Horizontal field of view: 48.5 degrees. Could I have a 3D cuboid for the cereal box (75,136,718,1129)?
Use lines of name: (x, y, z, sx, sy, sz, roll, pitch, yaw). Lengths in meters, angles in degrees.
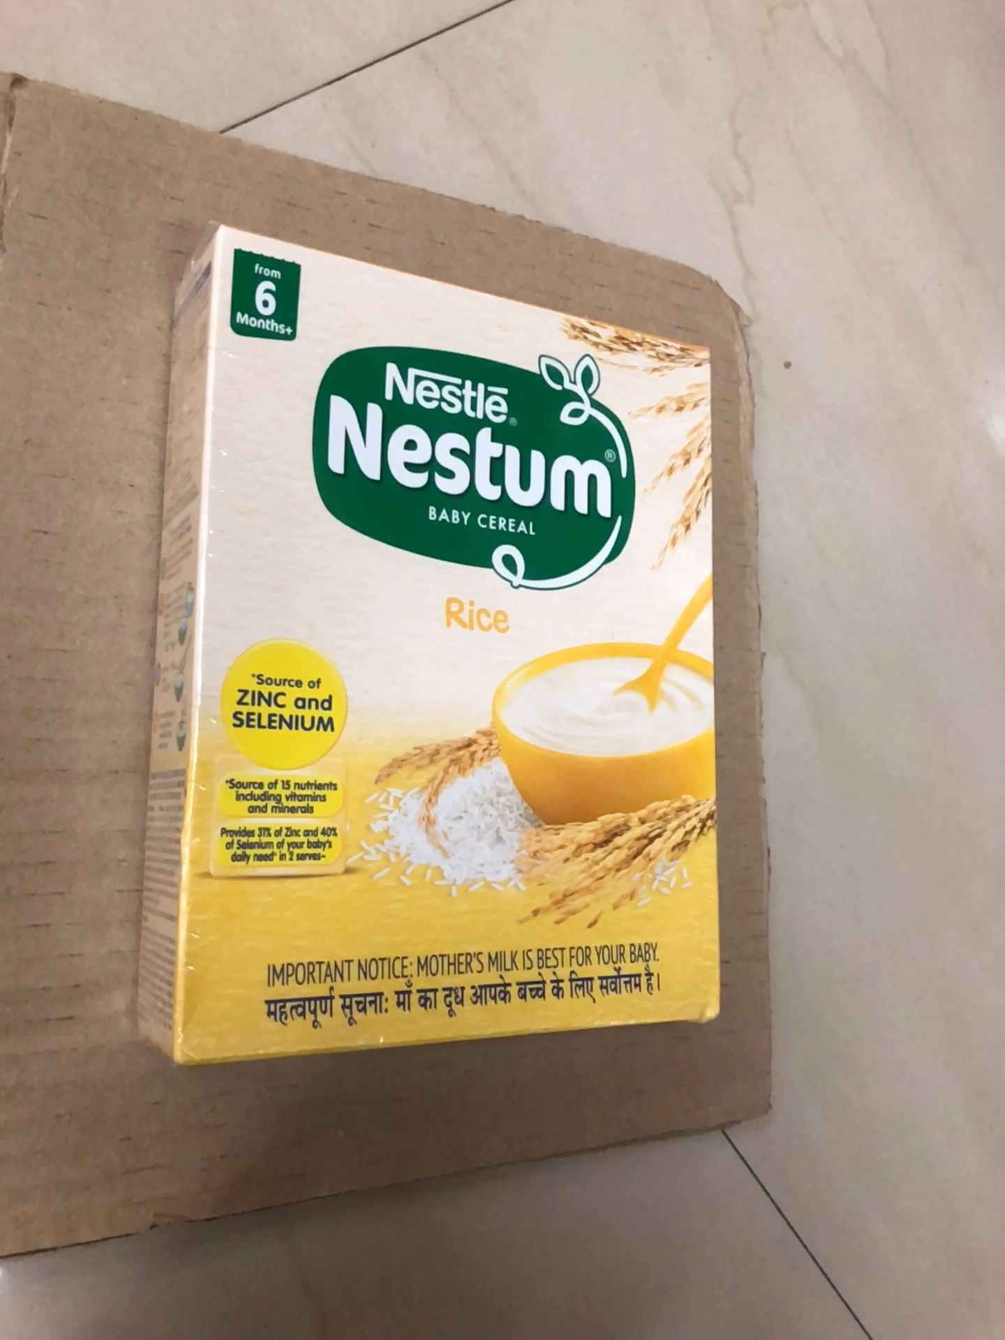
cereal box: (-0.023, -0.006, 0.295, 0.150, 0.060, 0.210, 5, 81, -29)
